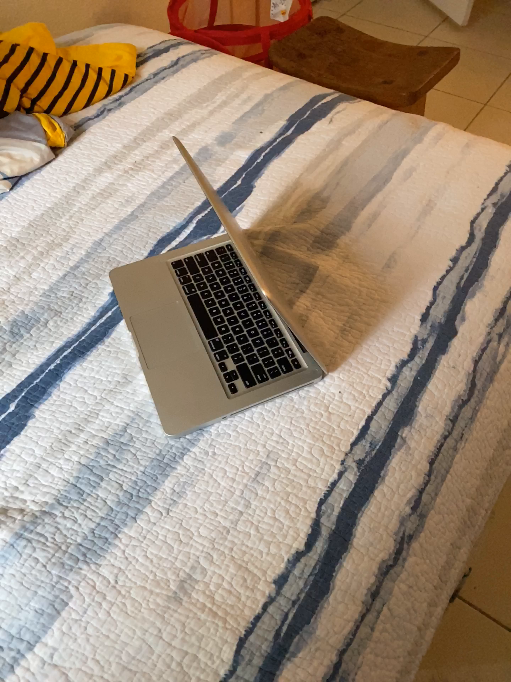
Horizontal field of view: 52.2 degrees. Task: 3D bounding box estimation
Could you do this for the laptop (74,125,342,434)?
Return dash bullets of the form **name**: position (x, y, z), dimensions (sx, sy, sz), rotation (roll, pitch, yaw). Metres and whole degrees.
- **laptop**: position (-0.072, -0.092, 0.689), dimensions (0.220, 0.191, 0.316), rotation (-19, 54, -12)
